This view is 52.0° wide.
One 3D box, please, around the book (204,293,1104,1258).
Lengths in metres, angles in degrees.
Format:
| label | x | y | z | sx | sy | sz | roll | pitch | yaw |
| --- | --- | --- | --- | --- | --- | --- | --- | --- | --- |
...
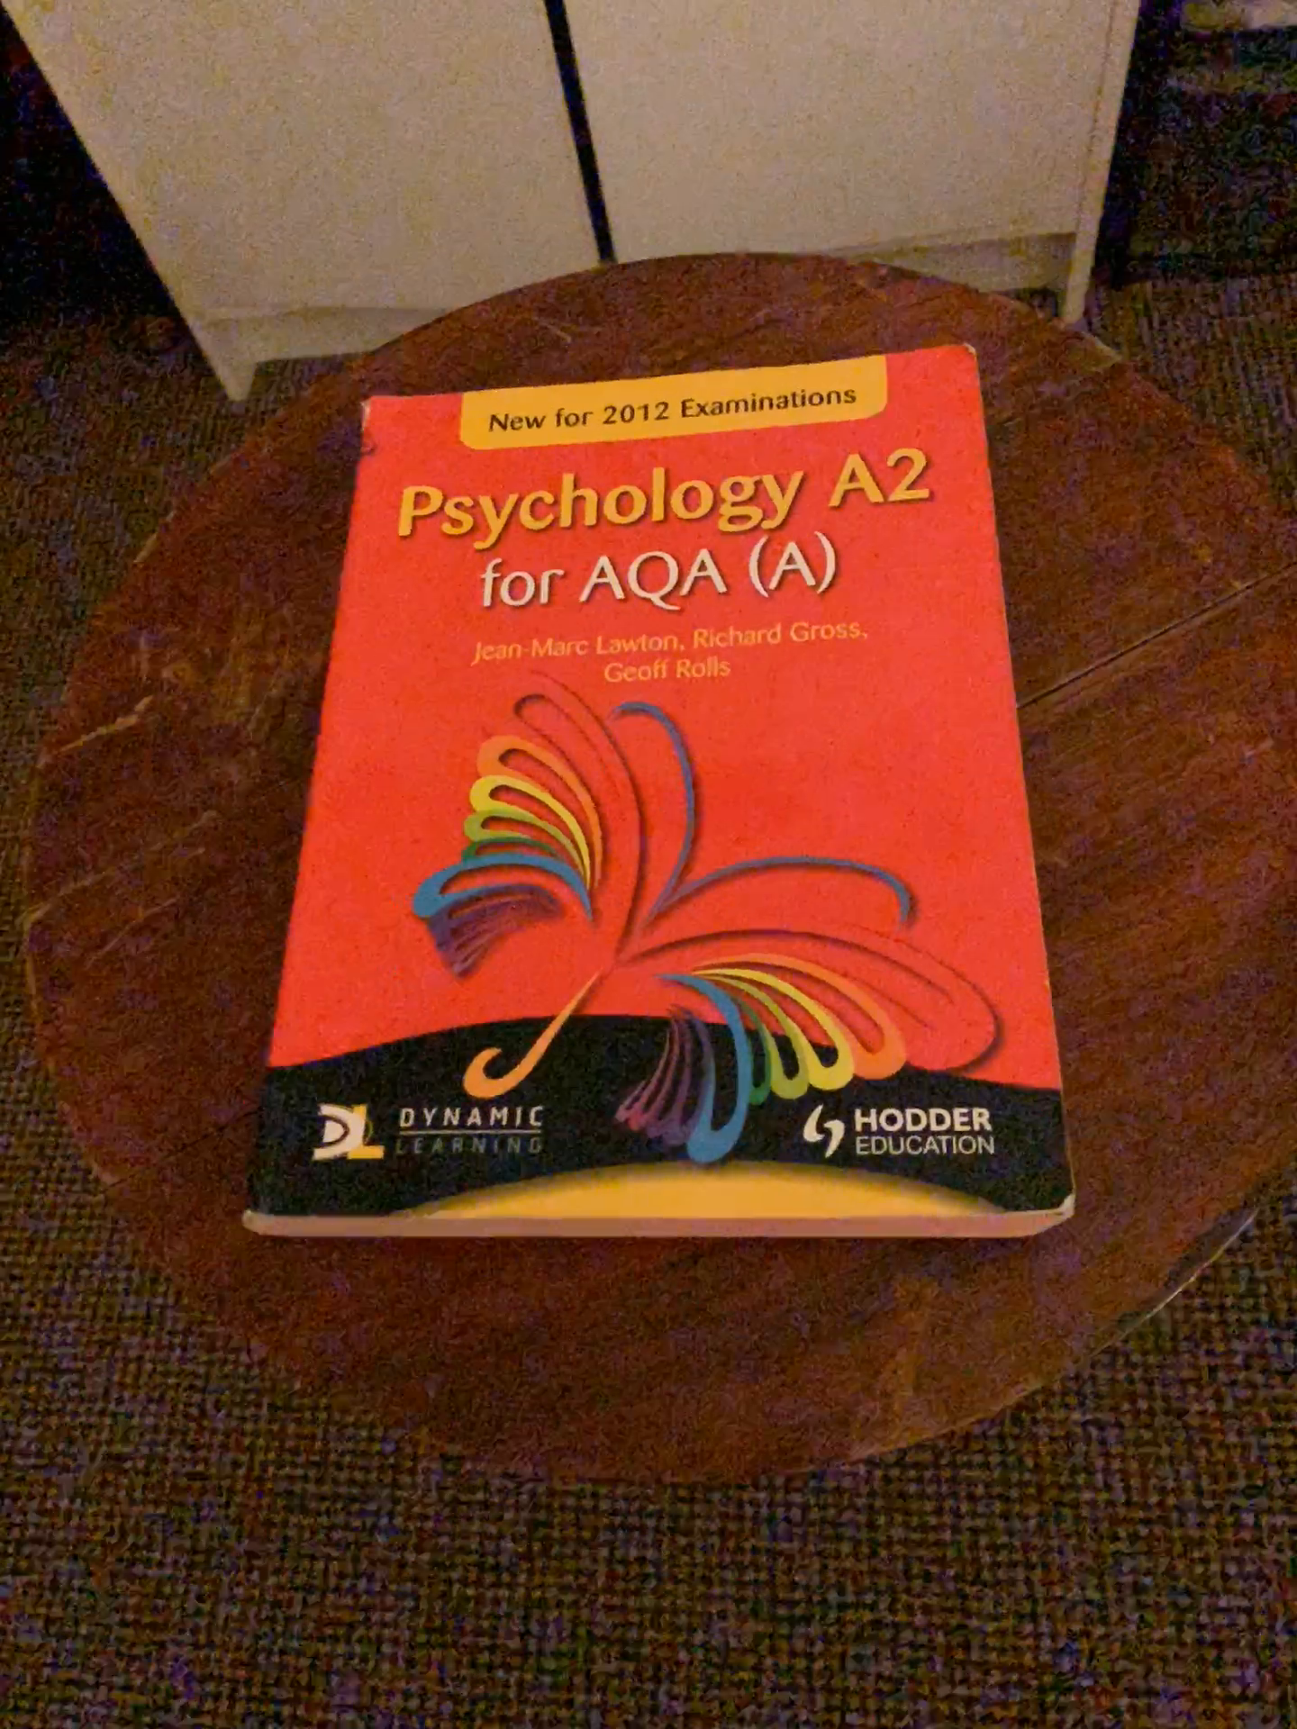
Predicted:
| label | x | y | z | sx | sy | sz | roll | pitch | yaw |
| --- | --- | --- | --- | --- | --- | --- | --- | --- | --- |
| book | 0.003 | -0.038 | 0.389 | 0.210 | 0.040 | 0.291 | -2 | 63 | 8 |
